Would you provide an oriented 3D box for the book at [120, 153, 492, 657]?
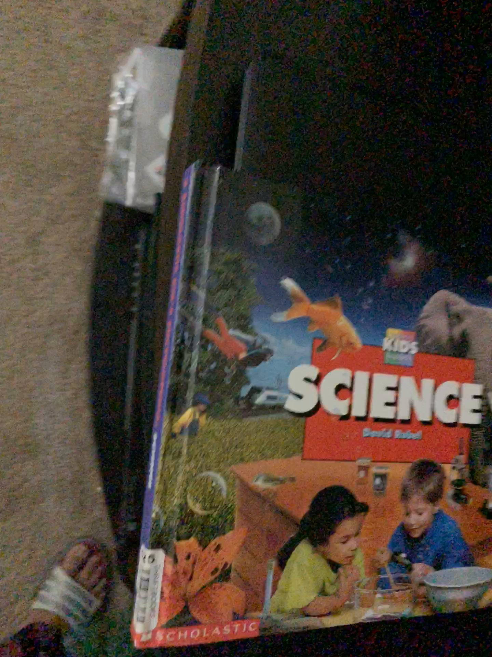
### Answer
[{"bbox_3d":[0.086,0.055,0.299,0.281,0.030,0.240,8,86,-22],"label":"book"}]
